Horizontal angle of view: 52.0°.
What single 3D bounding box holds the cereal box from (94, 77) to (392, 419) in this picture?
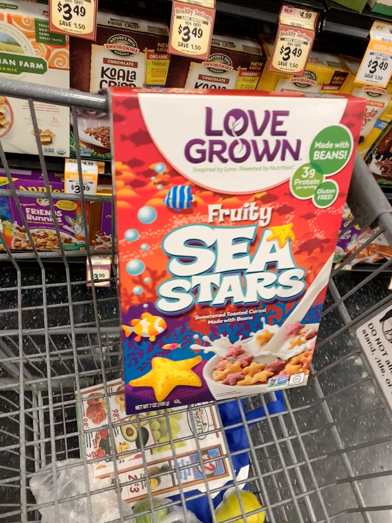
[{"bbox_3d":[0.022,0.000,0.311,0.180,0.249,0.050,-4,30,-14],"label":"cereal box"}]
